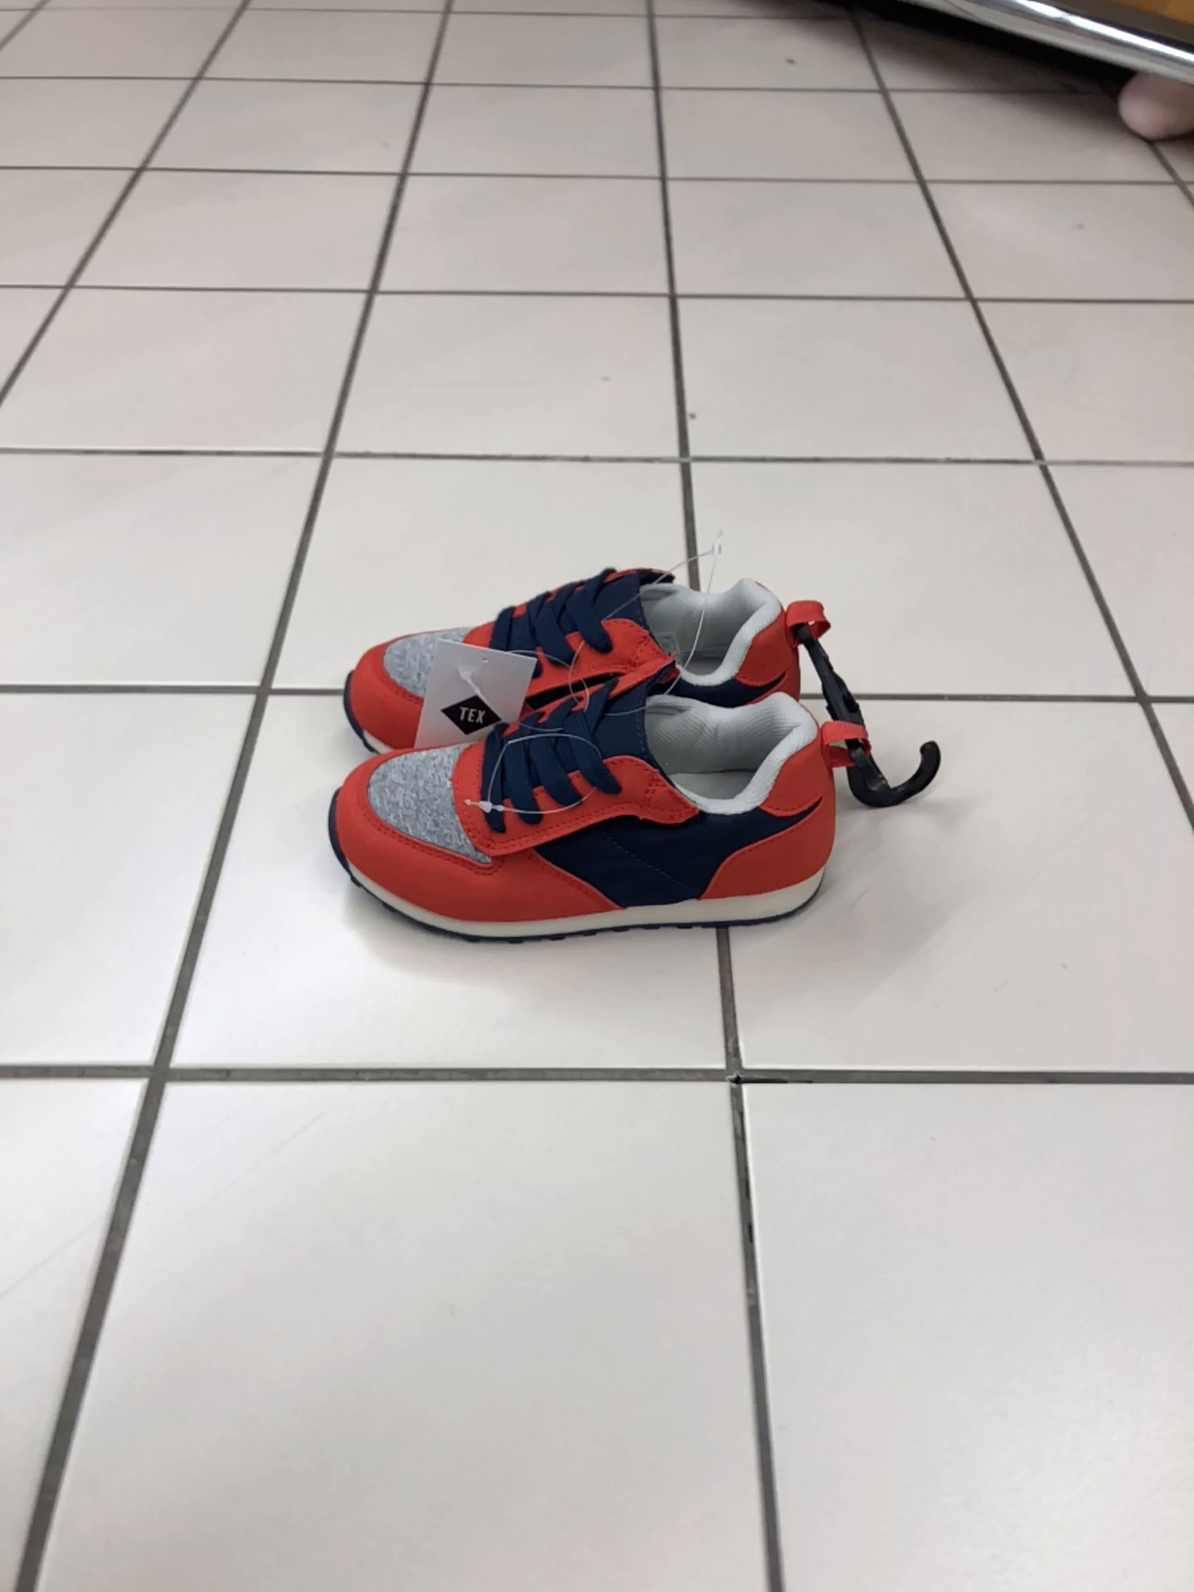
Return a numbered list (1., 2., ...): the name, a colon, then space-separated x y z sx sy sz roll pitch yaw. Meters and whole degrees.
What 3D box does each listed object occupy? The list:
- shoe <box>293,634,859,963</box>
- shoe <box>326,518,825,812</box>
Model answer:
1. shoe: -0.009 0.000 0.495 0.188 0.083 0.082 -2 46 -3
2. shoe: -0.010 -0.055 0.549 0.187 0.083 0.082 -2 46 -3
